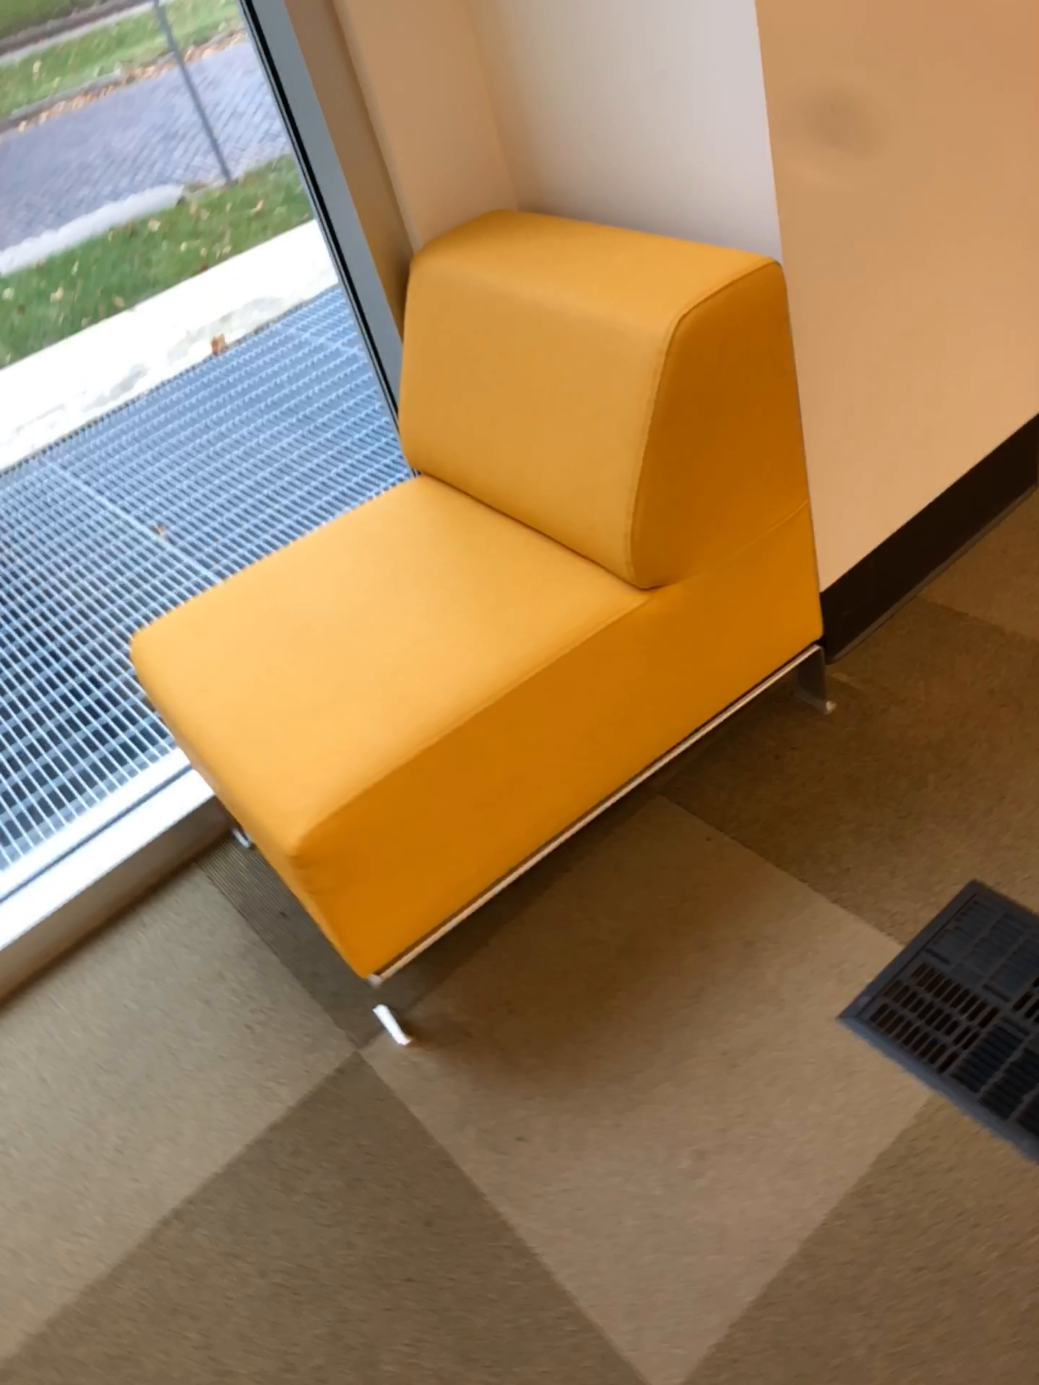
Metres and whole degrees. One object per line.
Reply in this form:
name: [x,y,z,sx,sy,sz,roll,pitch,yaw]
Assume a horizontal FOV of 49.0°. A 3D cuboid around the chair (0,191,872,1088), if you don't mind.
chair: [-0.093,-0.138,1.687,0.946,0.751,0.674,-35,41,-18]
